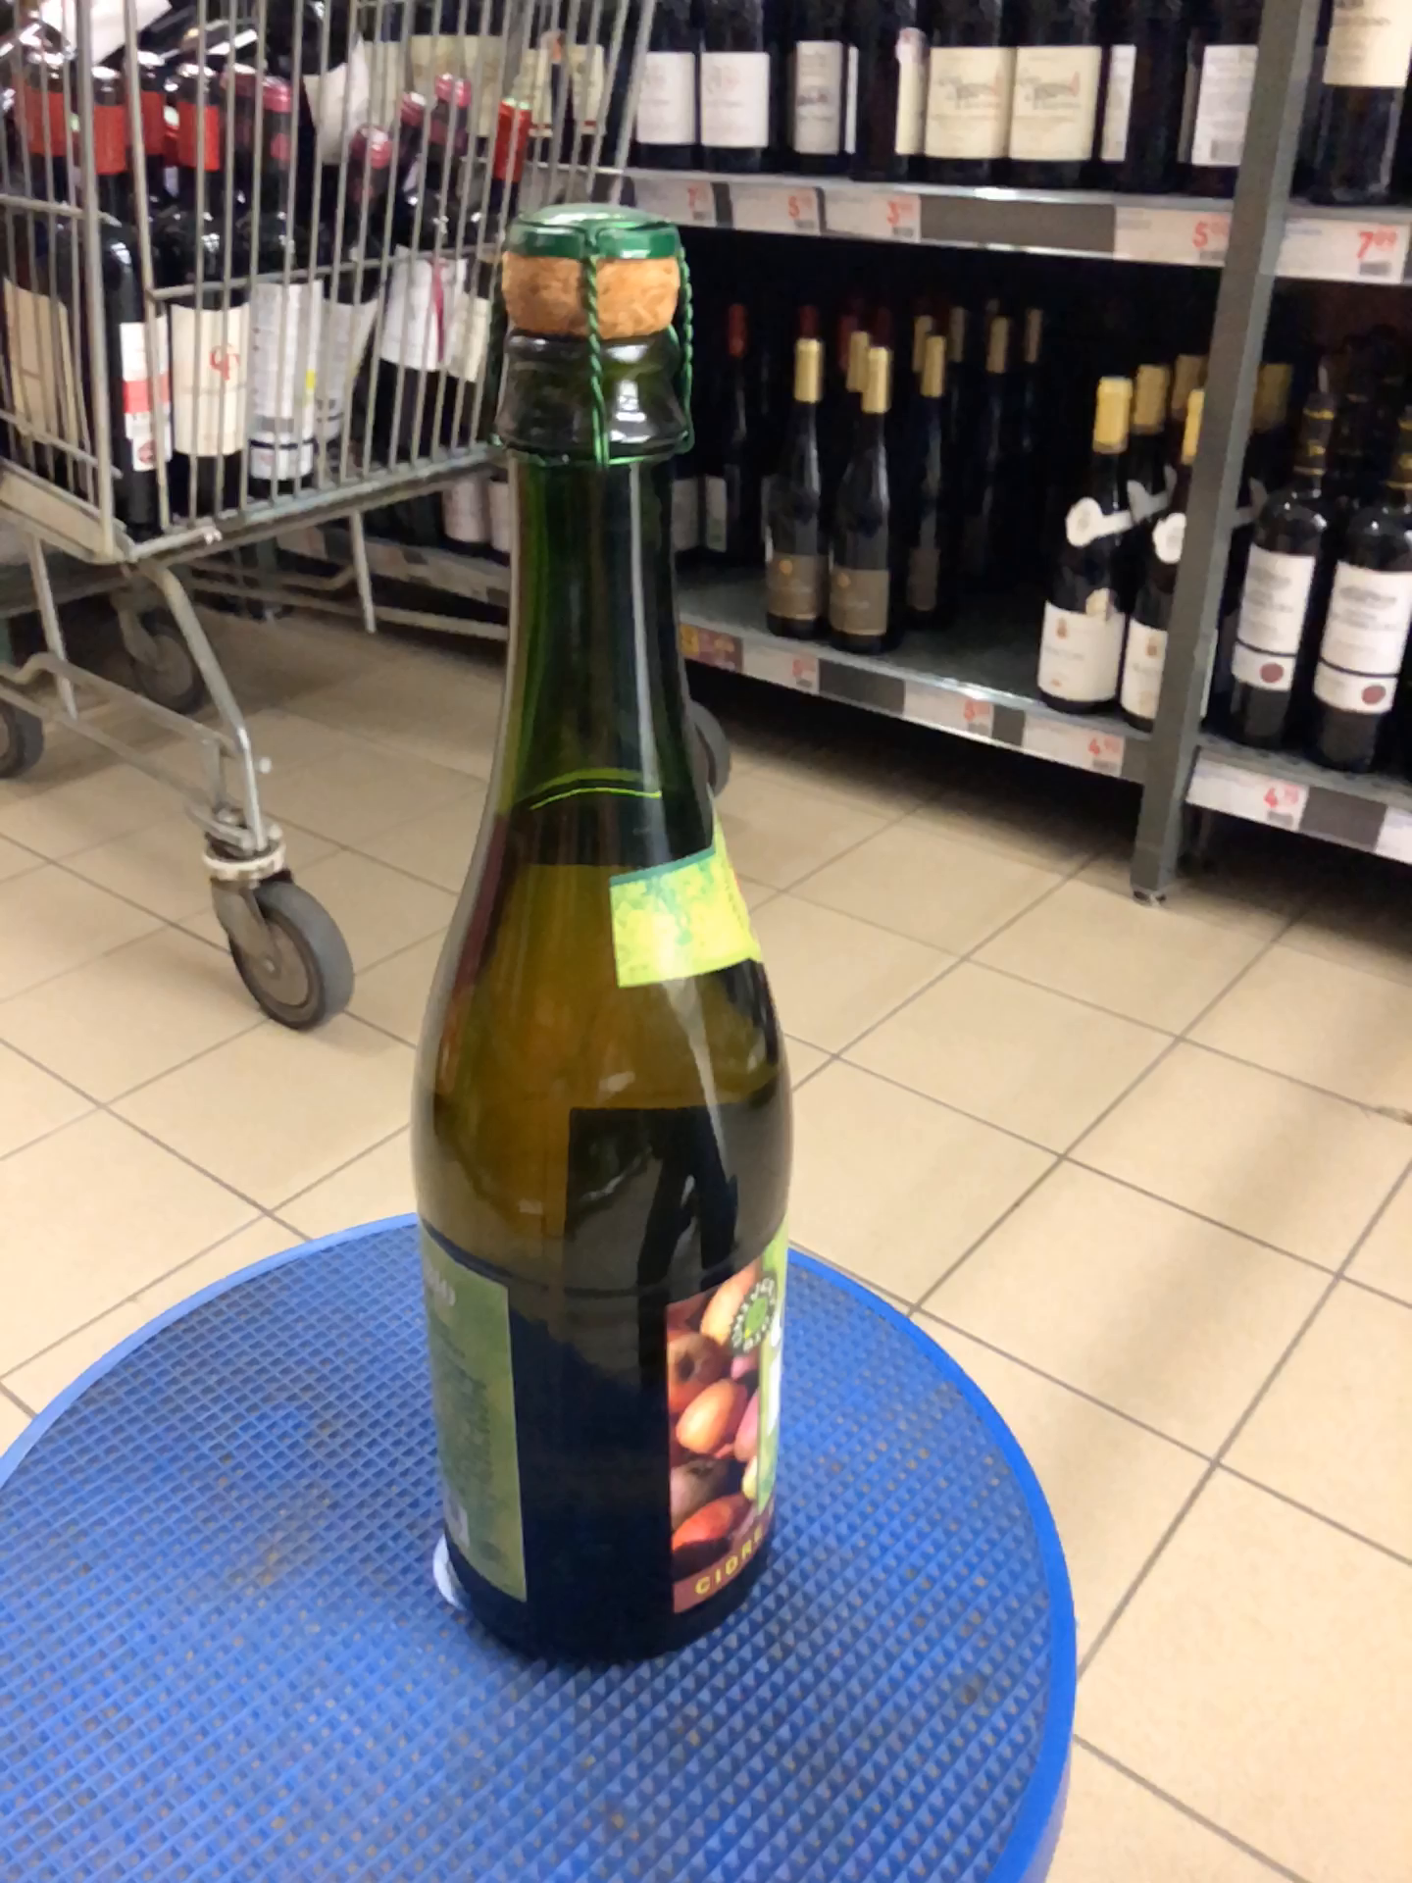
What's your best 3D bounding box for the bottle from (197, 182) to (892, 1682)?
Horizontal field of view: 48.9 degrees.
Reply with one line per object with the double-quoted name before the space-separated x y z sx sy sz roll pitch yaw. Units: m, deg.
"bottle" -0.023 0.011 0.311 0.090 0.288 0.091 0 29 0
